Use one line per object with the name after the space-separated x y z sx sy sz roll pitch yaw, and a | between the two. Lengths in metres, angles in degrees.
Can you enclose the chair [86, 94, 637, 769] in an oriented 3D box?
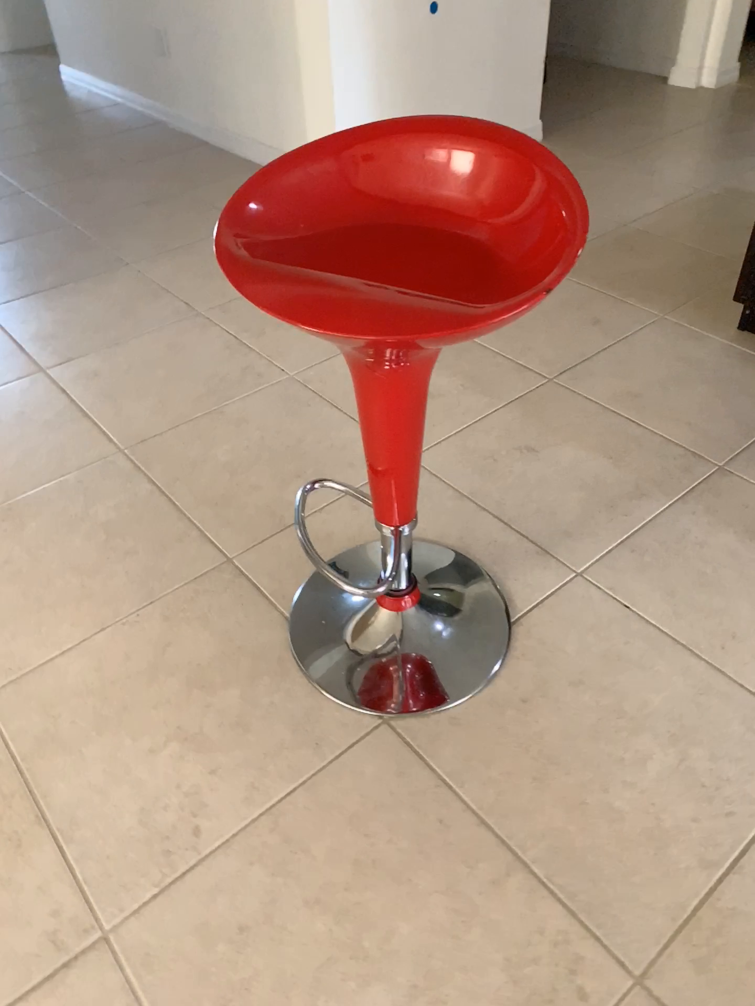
0.012 -0.098 1.074 0.438 0.726 0.435 21 46 25 | chair
